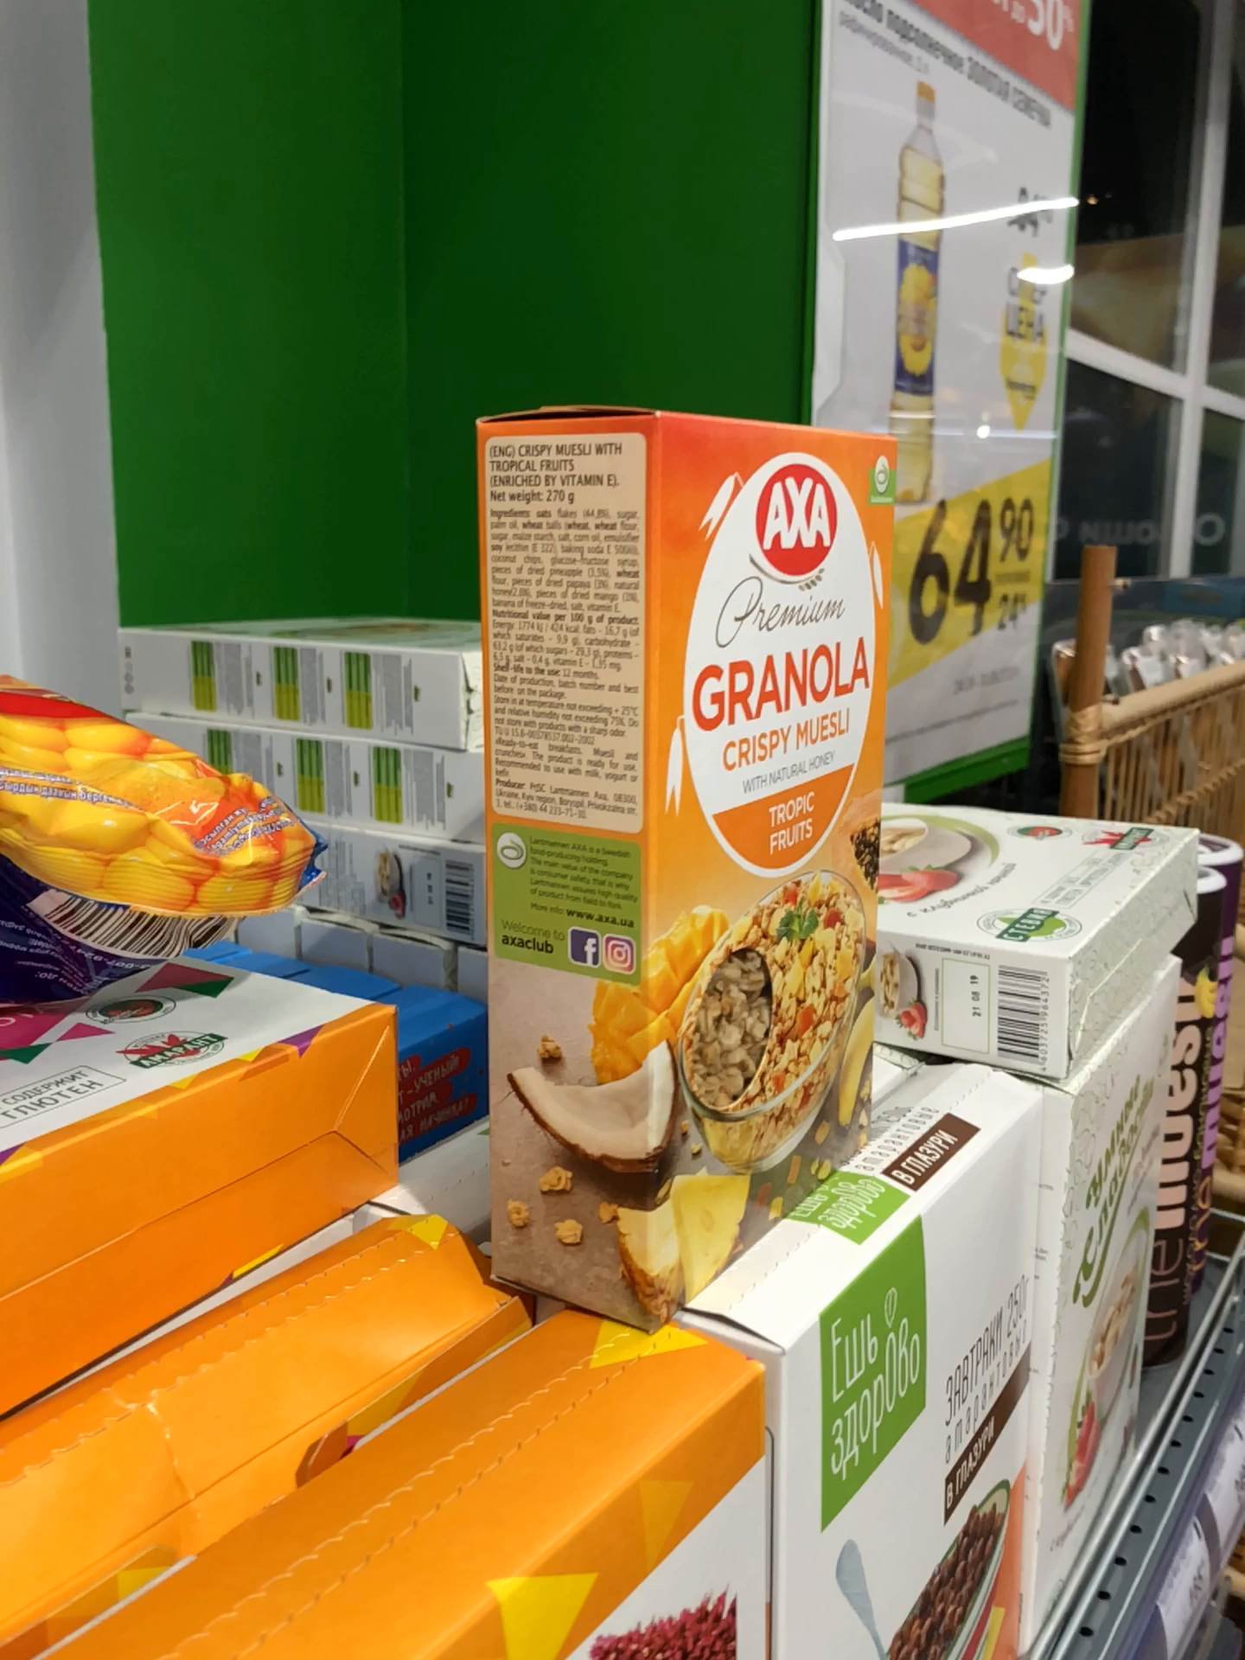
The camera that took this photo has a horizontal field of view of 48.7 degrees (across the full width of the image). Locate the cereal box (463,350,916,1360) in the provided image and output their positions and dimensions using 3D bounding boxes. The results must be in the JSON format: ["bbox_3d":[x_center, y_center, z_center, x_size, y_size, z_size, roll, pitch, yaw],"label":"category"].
[{"bbox_3d":[0.024,-0.002,0.363,0.050,0.219,0.140,7,14,31],"label":"cereal box"}]
